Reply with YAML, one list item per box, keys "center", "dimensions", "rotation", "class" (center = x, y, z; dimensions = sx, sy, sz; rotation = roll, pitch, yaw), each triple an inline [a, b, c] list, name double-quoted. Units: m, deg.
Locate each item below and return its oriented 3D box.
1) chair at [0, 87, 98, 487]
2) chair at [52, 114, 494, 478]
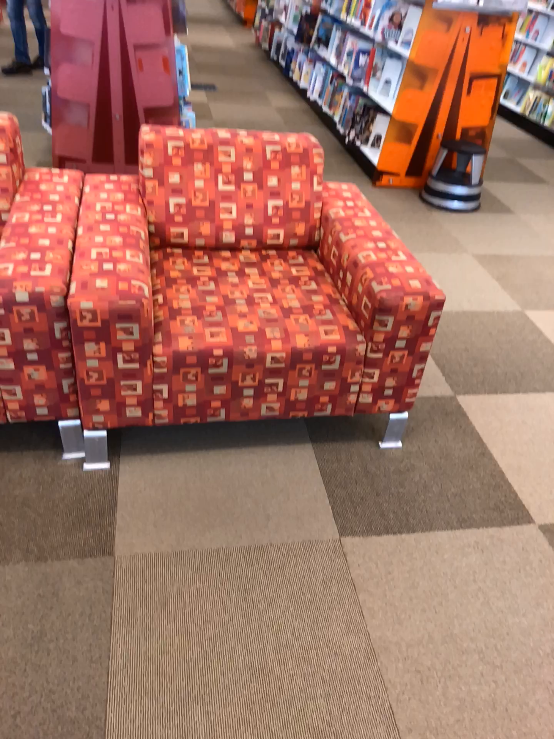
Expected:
- center: [-1.040, -0.295, 1.764]
  dimensions: [0.919, 0.717, 0.955]
  rotation: [-2, 36, -13]
  class: "chair"
- center: [-0.101, -0.292, 1.936]
  dimensions: [1.002, 0.687, 0.995]
  rotation: [-2, 36, -13]
  class: "chair"
